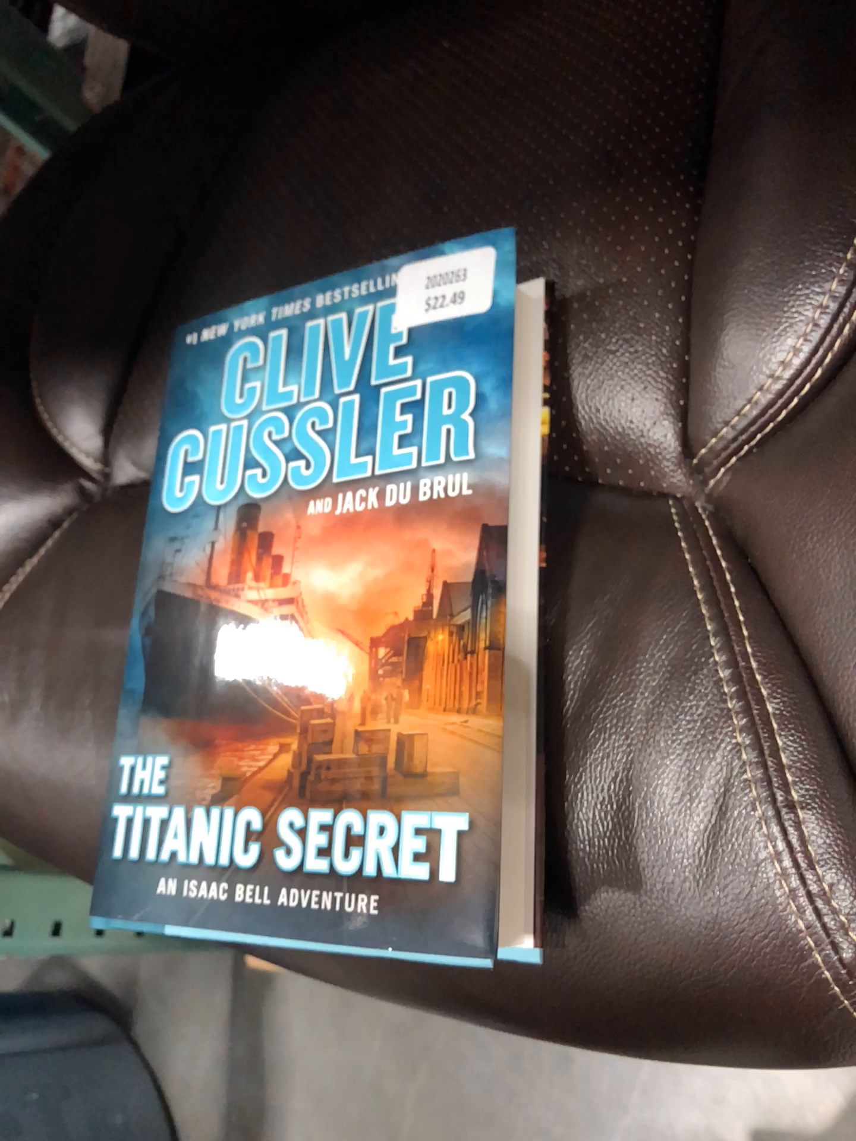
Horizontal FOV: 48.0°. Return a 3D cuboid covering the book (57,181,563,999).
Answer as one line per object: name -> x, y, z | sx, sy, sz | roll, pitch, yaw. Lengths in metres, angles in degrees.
book -> -0.039, 0.004, 0.339 | 0.166, 0.040, 0.249 | -7, 71, 30
